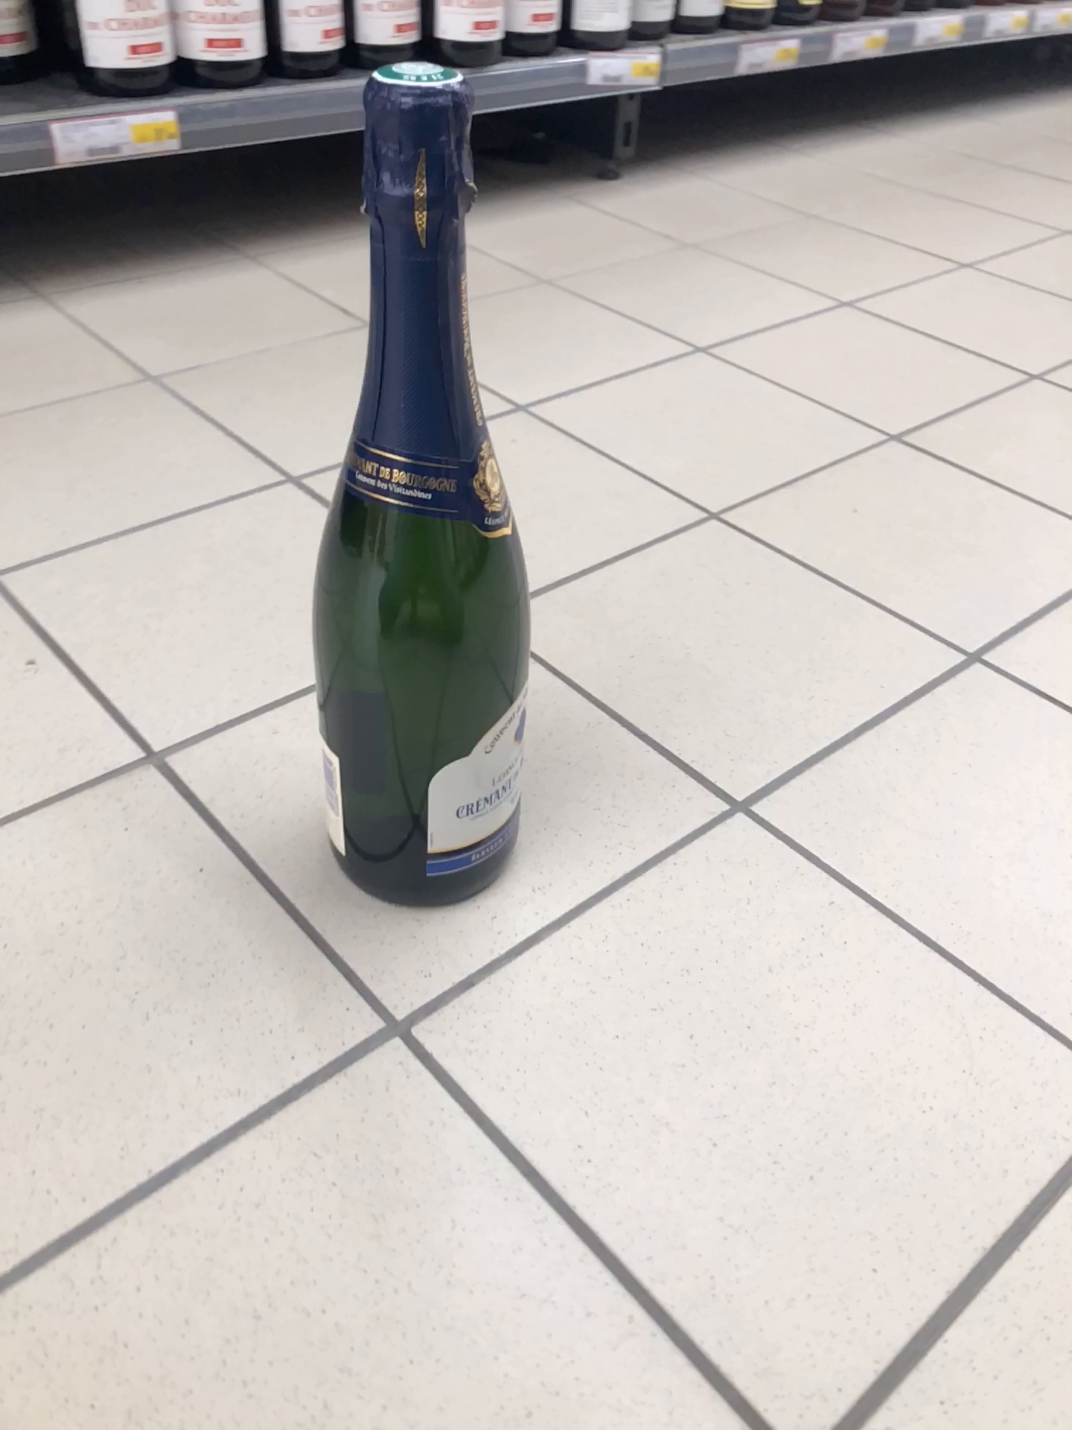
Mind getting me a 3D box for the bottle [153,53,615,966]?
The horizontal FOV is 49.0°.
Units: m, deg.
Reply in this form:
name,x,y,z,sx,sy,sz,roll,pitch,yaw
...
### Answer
name,x,y,z,sx,sy,sz,roll,pitch,yaw
bottle,-0.048,-0.060,0.441,0.100,0.308,0.101,2,38,-2
